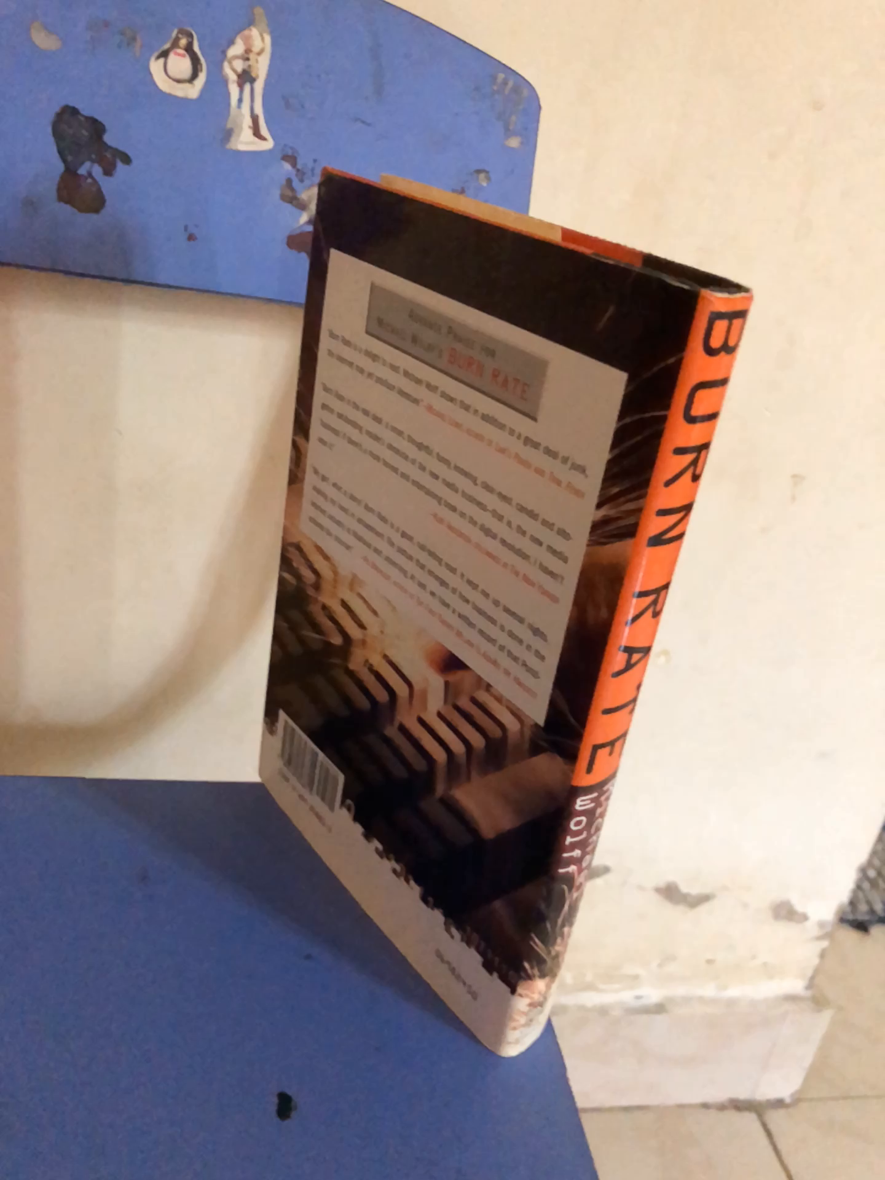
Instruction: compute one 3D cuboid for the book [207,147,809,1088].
[{"bbox_3d":[-0.011,-0.003,0.326,0.040,0.239,0.200,-11,32,-36],"label":"book"}]
